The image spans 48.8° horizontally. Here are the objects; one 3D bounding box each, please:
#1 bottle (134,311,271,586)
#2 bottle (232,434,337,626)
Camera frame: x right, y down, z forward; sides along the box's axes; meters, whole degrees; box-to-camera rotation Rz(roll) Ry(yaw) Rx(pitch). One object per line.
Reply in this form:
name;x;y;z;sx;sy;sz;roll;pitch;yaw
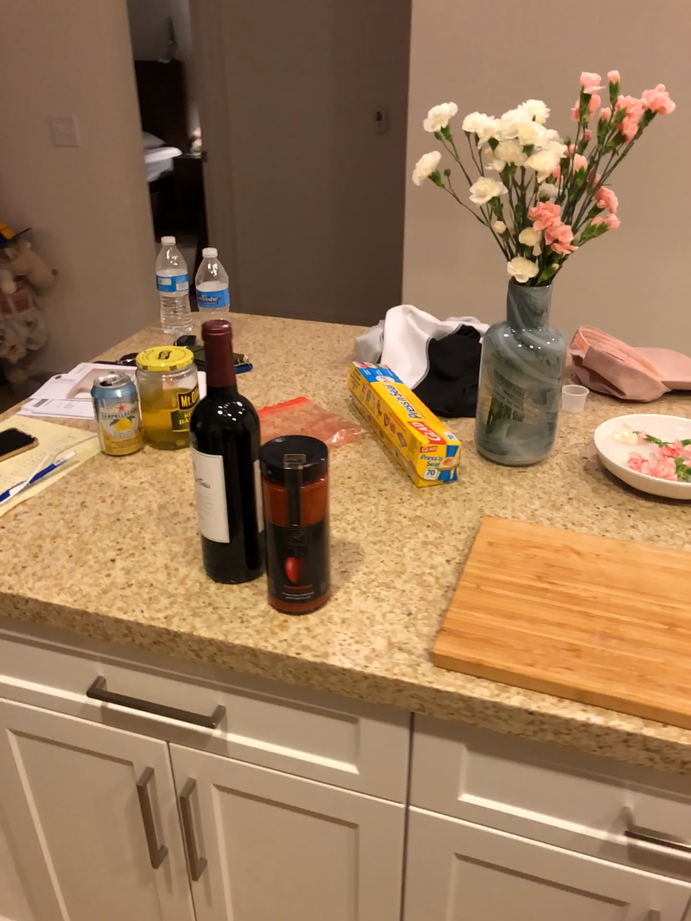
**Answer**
bottle;-0.147;-0.011;0.836;0.110;0.278;0.111;0;27;0
bottle;-0.060;0.075;0.818;0.090;0.179;0.091;0;27;0
